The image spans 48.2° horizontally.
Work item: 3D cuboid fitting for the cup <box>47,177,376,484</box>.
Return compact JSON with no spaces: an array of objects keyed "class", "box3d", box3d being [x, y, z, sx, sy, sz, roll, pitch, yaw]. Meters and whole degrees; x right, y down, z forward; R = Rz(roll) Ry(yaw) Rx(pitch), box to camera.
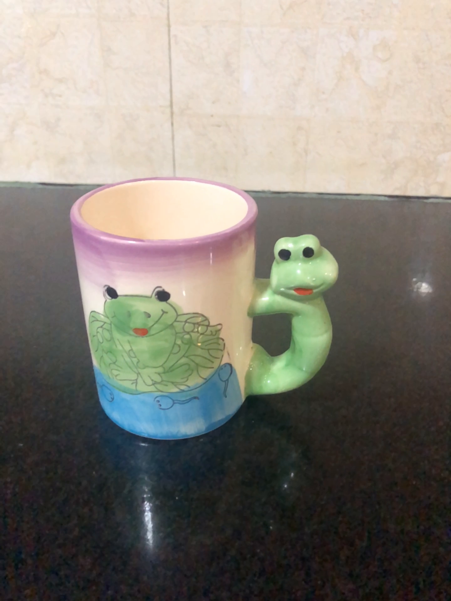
[{"class":"cup","box3d":[-0.007,0.010,0.230,0.110,0.109,0.081,-2,30,-5]}]
